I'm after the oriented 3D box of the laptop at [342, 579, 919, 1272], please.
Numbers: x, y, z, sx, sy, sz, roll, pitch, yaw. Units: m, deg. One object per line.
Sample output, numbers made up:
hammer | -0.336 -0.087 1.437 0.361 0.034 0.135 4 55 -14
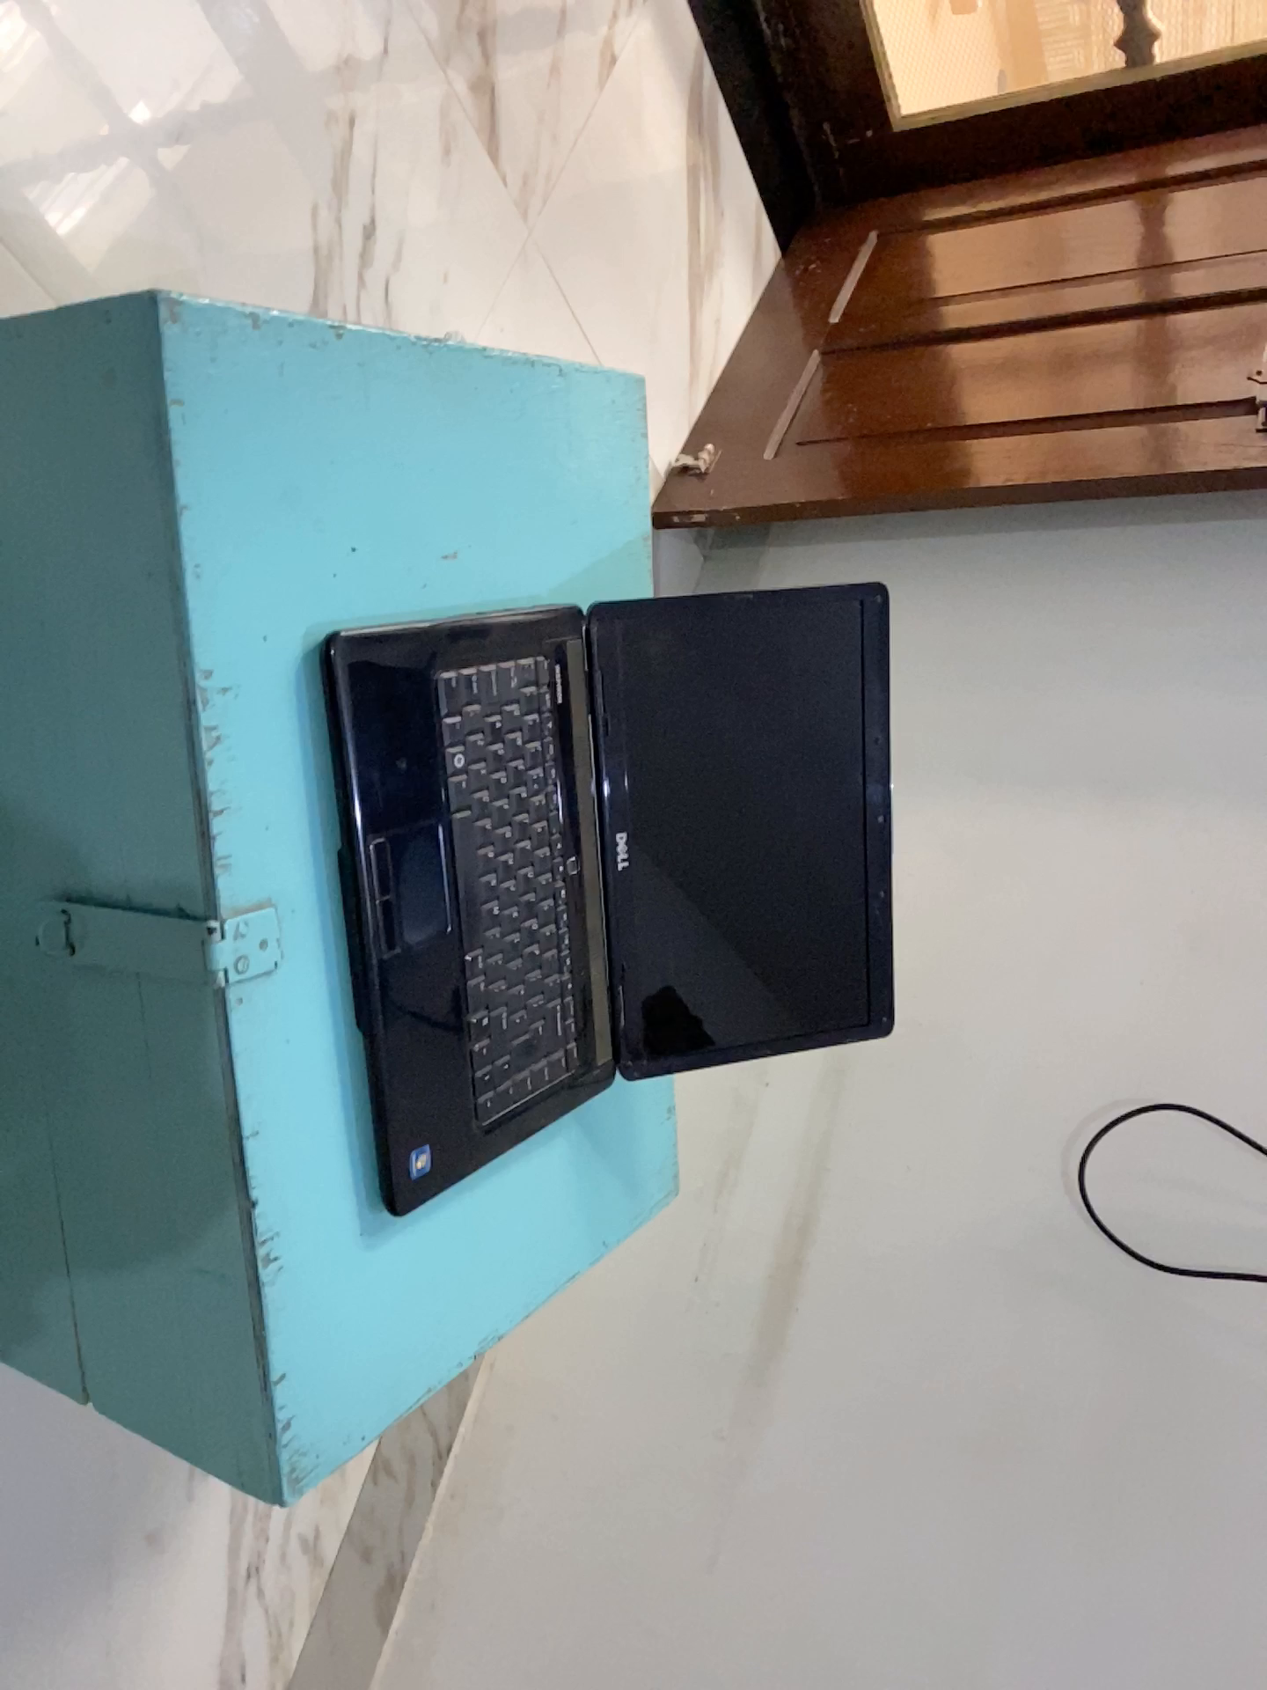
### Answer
laptop | 0.035 0.017 0.899 0.414 0.162 0.363 -22 113 -52
